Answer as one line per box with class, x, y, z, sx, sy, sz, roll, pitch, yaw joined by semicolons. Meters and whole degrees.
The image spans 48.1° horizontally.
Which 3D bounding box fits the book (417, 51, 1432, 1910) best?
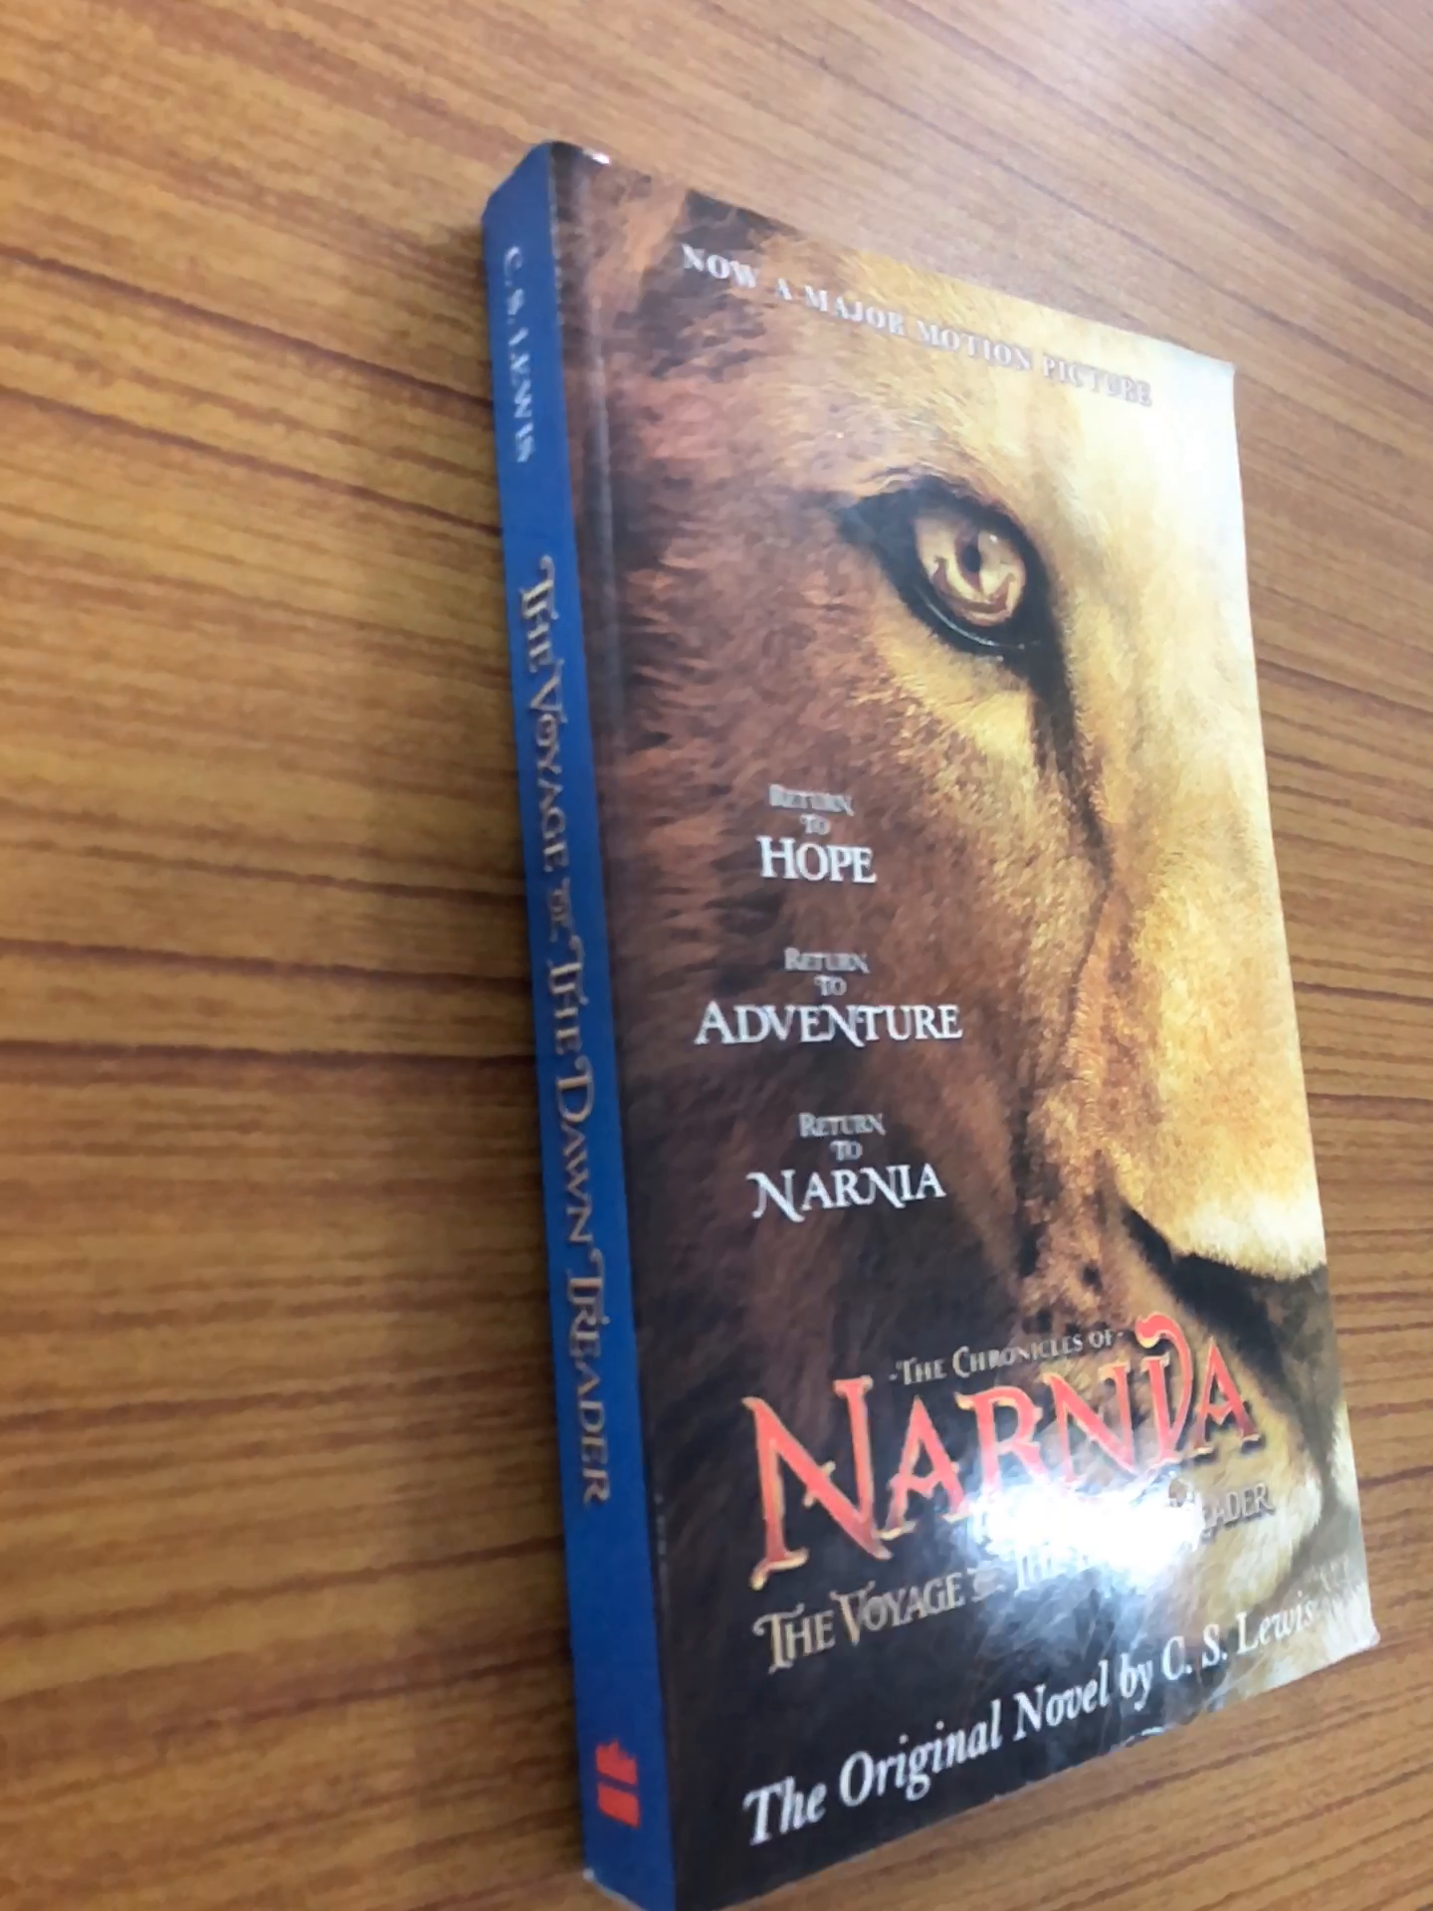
book;0.030;0.003;0.195;0.120;0.030;0.180;1;80;-37
